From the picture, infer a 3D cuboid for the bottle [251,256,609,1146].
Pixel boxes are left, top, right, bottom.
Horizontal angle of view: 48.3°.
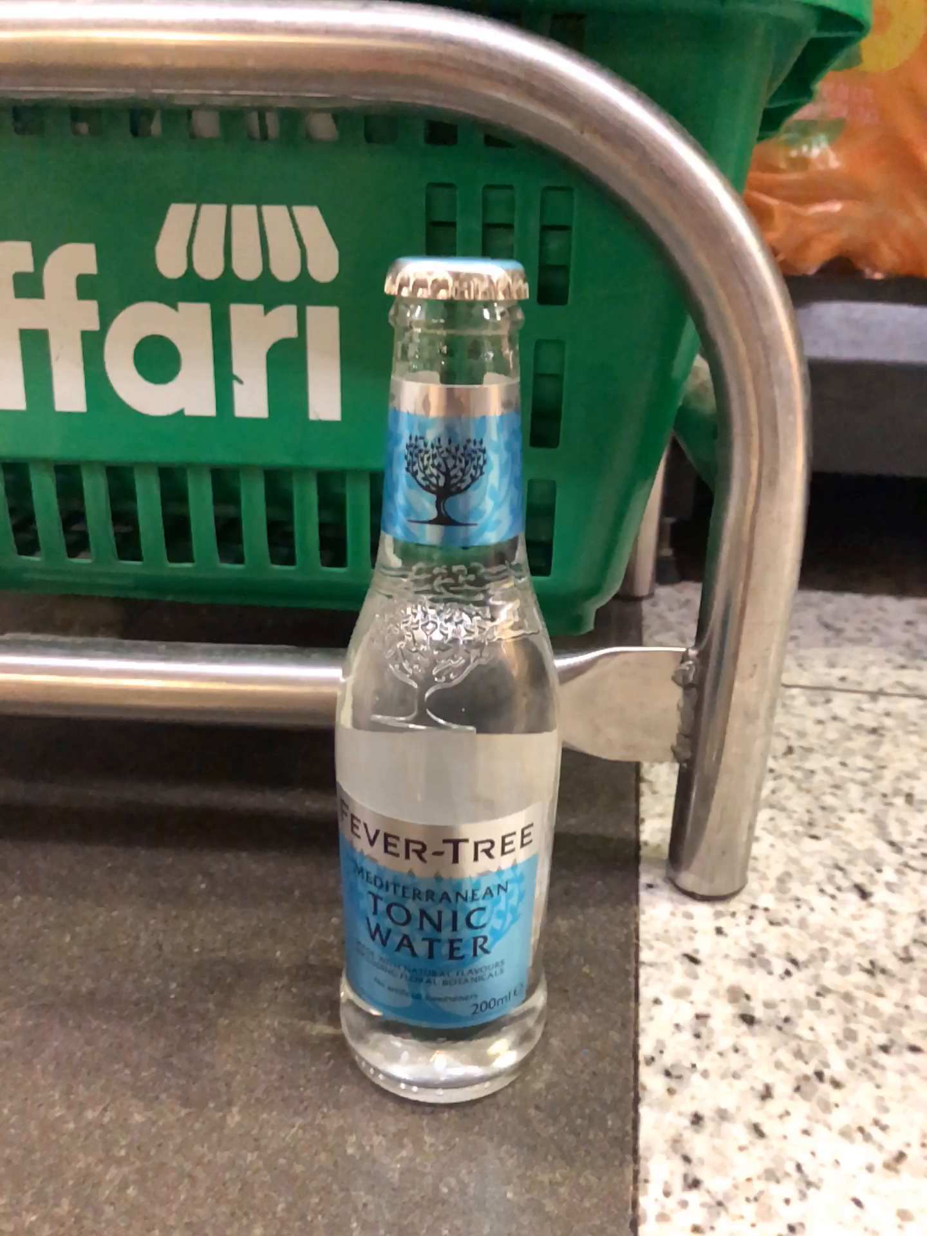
[{"bbox_3d":[-0.006,0.022,0.229,0.060,0.189,0.050,3,21,4],"label":"bottle"}]
